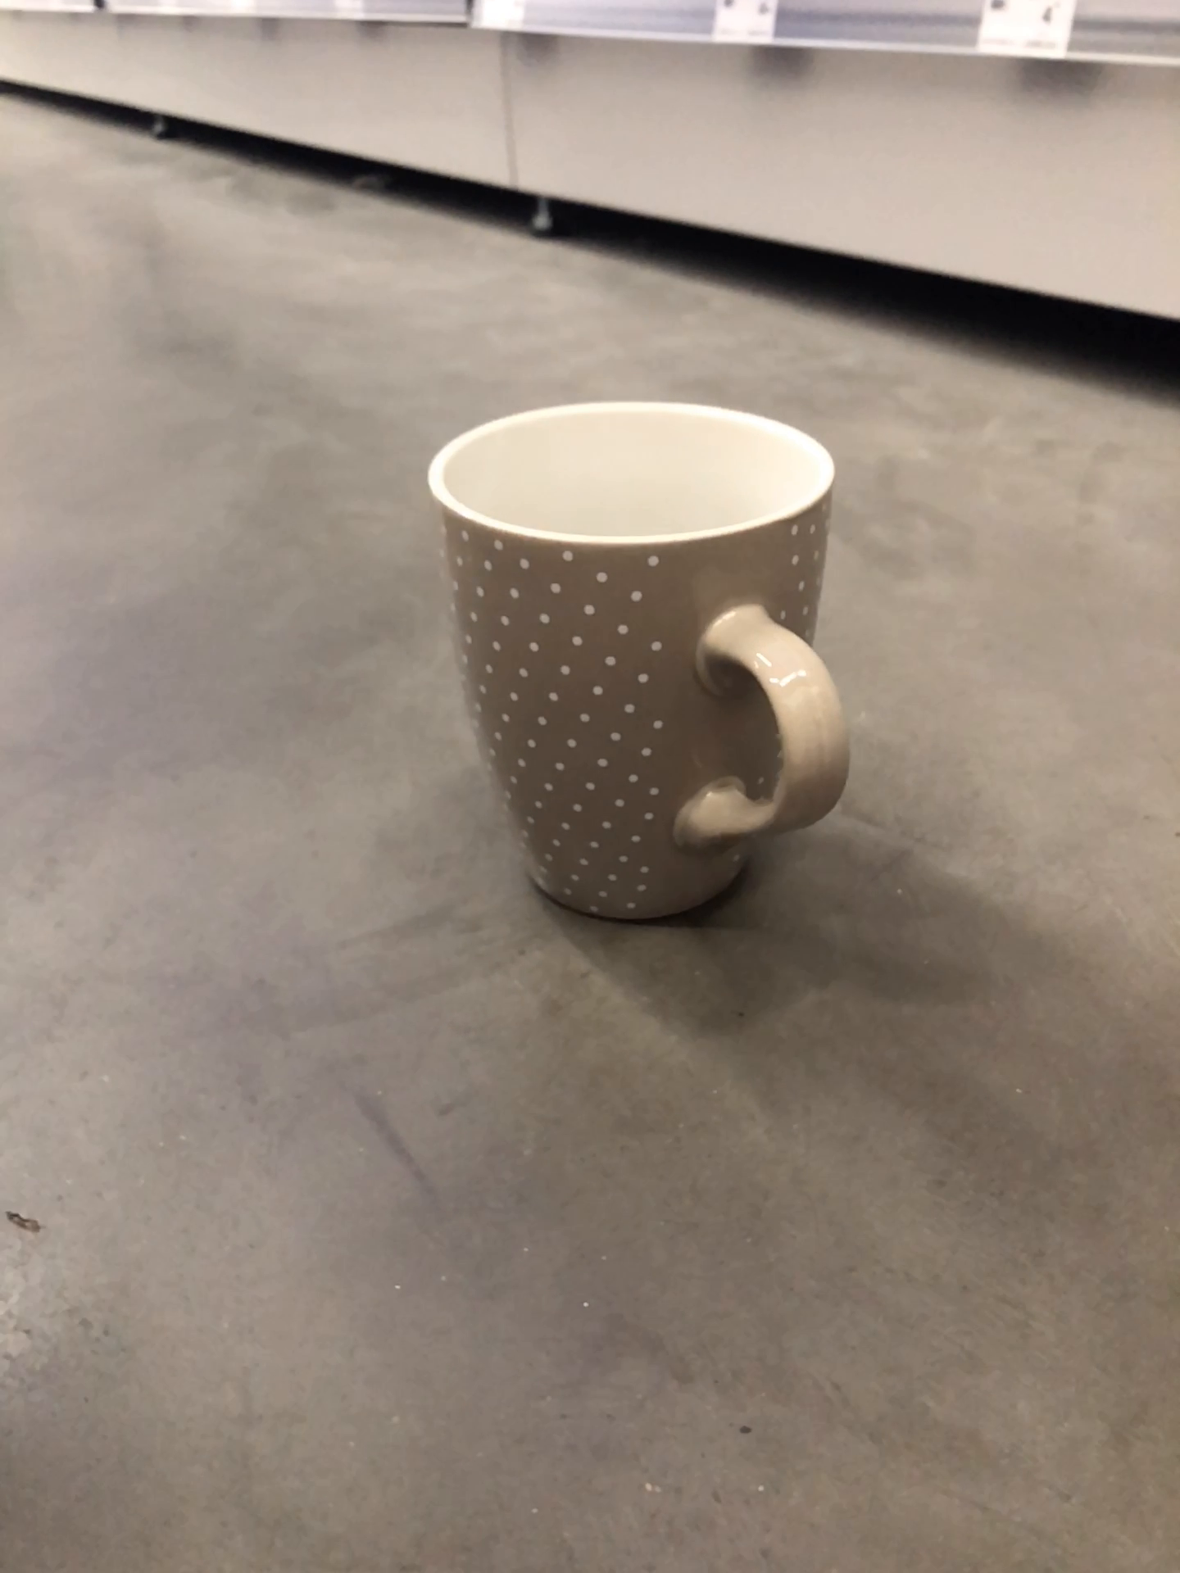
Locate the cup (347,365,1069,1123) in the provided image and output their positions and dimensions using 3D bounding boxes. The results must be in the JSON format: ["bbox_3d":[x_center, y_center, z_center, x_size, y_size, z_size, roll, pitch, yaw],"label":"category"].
[{"bbox_3d":[0.017,-0.023,0.308,0.091,0.106,0.142,-17,35,-23],"label":"cup"}]
